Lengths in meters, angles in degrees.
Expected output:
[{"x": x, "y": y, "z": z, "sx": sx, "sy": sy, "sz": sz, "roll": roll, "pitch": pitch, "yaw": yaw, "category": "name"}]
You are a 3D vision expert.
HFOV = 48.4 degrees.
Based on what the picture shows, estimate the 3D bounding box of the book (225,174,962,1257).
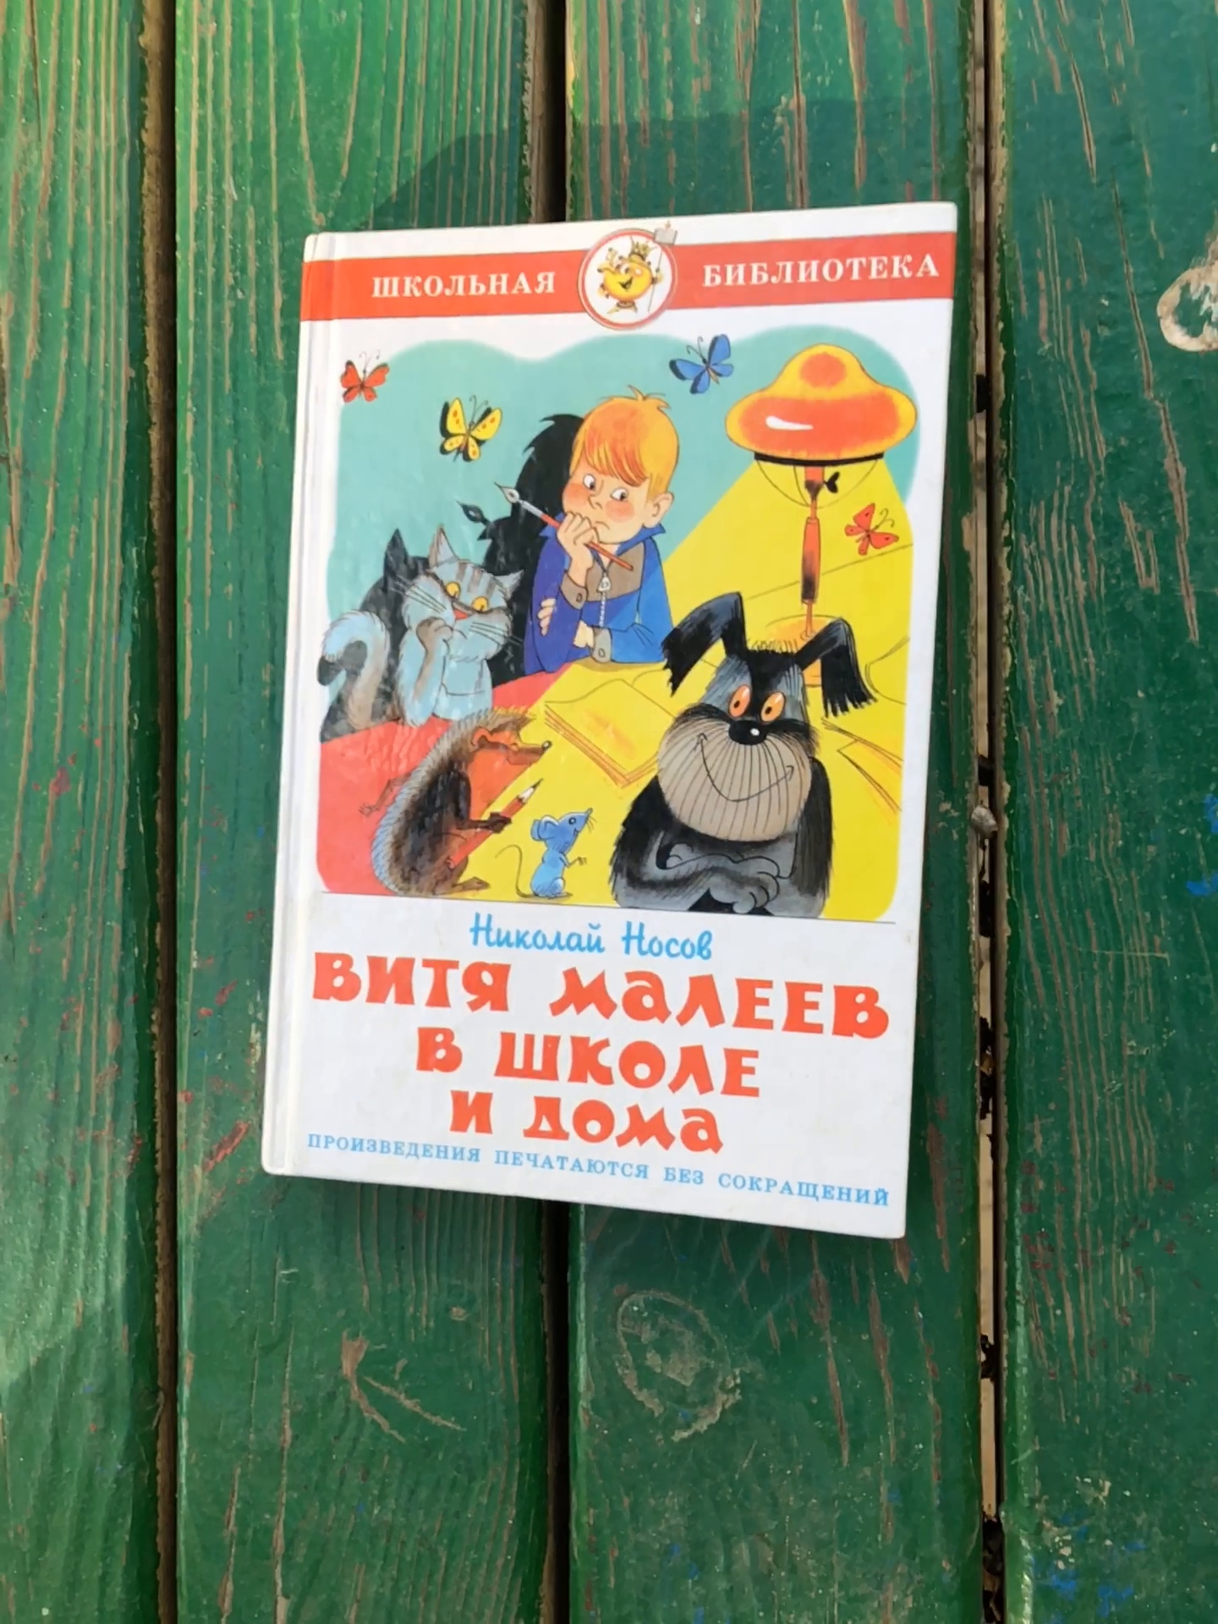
[{"x": -0.005, "y": -0.022, "z": 0.289, "sx": 0.145, "sy": 0.020, "sz": 0.212, "roll": 3, "pitch": 89, "yaw": 12, "category": "book"}]
